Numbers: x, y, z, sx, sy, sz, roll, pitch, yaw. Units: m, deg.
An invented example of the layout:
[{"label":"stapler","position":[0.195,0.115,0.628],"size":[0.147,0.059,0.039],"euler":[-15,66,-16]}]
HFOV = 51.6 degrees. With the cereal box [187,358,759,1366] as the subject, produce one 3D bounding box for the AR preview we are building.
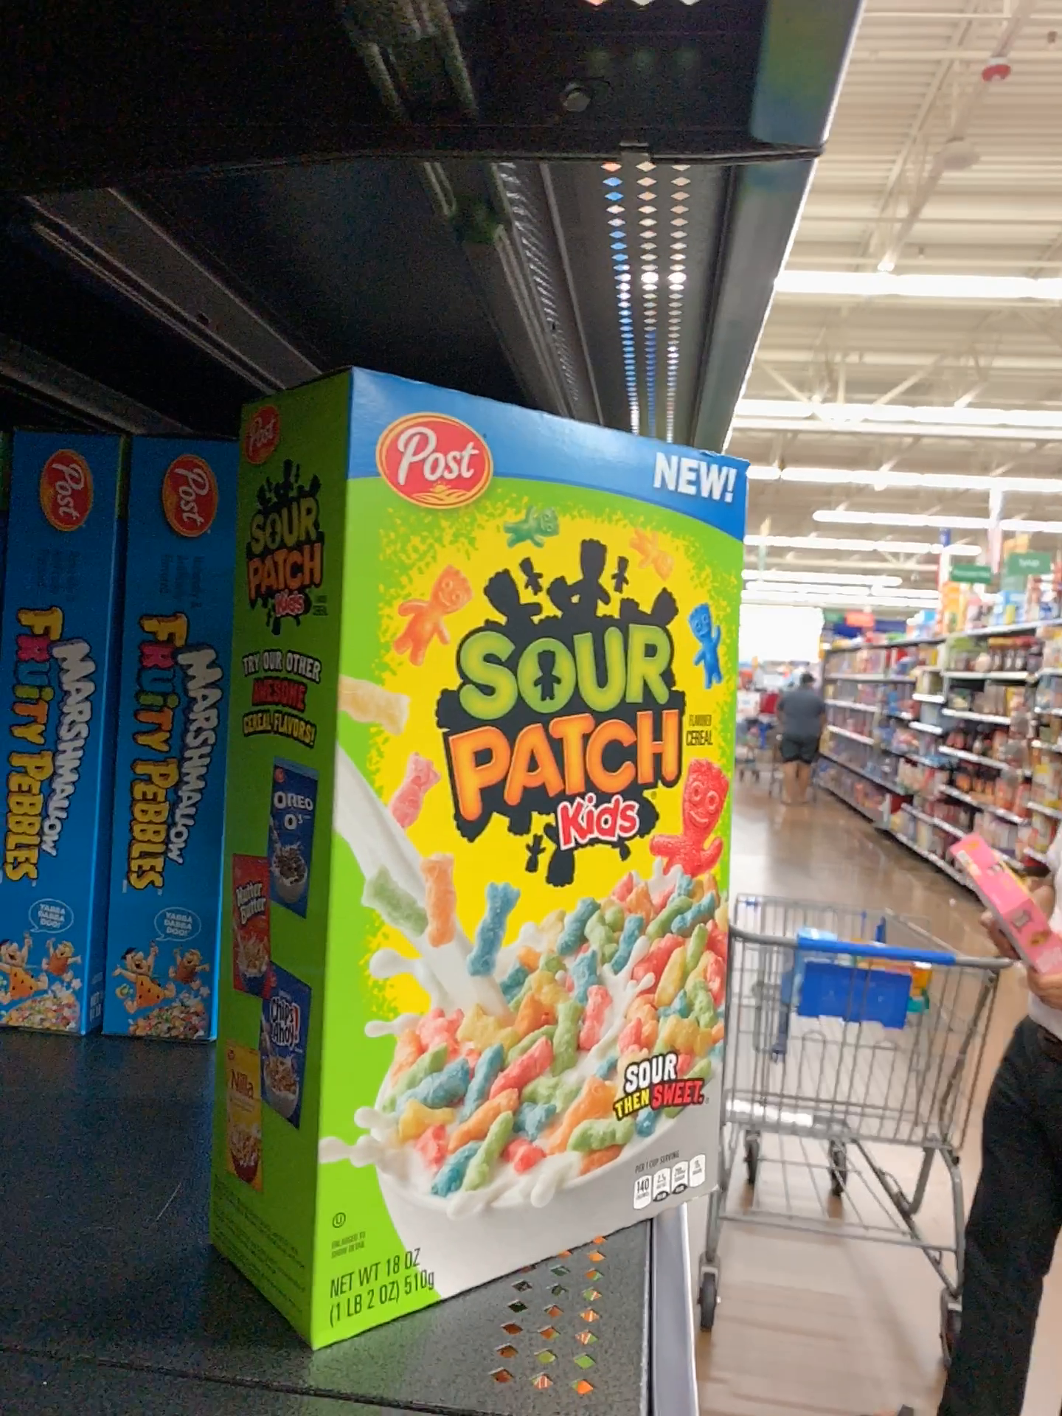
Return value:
[{"label":"cereal box","position":[-0.015,0.048,0.431],"size":[0.200,0.310,0.080],"euler":[2,2,-40]}]
